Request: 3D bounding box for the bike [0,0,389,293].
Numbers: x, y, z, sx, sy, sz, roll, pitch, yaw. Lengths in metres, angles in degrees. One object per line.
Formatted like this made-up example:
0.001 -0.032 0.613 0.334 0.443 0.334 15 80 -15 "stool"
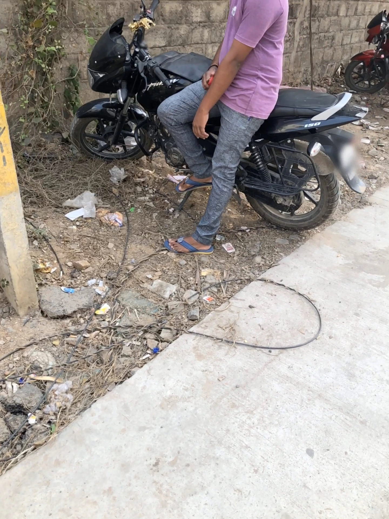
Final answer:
-0.047 -0.791 2.421 1.810 1.215 0.819 17 35 16 "bike"
